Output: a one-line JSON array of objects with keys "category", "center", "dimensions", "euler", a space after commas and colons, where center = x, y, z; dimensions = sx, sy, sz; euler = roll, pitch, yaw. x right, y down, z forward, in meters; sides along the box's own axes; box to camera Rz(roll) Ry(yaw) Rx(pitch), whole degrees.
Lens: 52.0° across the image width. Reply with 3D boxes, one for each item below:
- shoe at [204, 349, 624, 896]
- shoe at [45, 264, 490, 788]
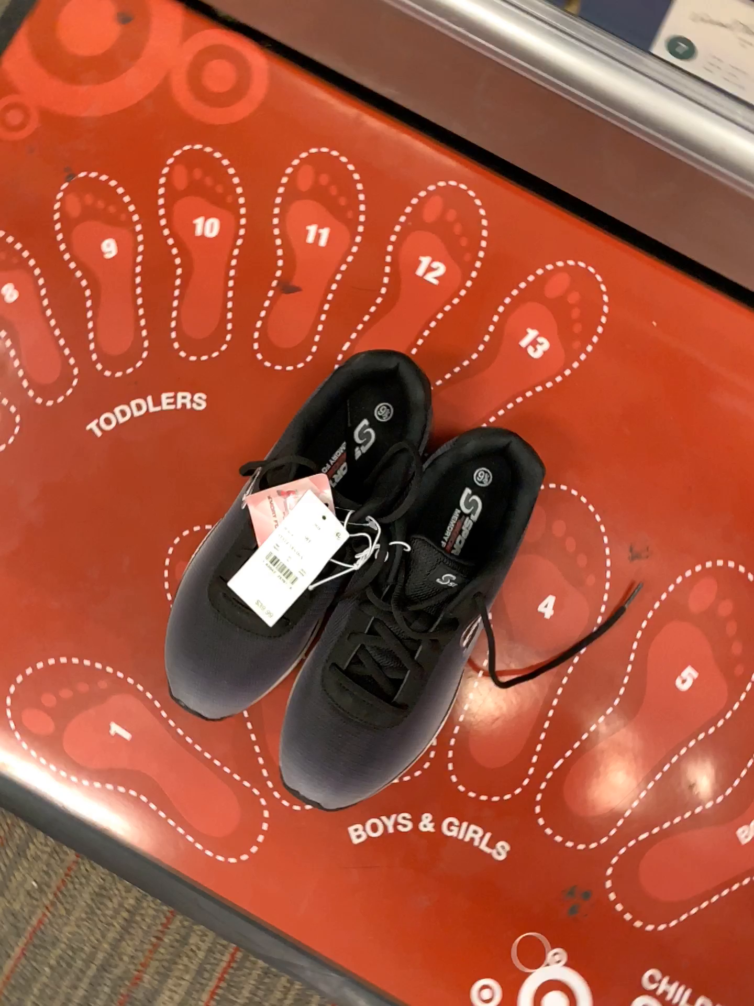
[{"category": "shoe", "center": [0.021, 0.061, 0.444], "dimensions": [0.100, 0.100, 0.260], "euler": [29, 84, 3]}, {"category": "shoe", "center": [-0.054, 0.012, 0.450], "dimensions": [0.100, 0.100, 0.260], "euler": [33, 84, 3]}]
